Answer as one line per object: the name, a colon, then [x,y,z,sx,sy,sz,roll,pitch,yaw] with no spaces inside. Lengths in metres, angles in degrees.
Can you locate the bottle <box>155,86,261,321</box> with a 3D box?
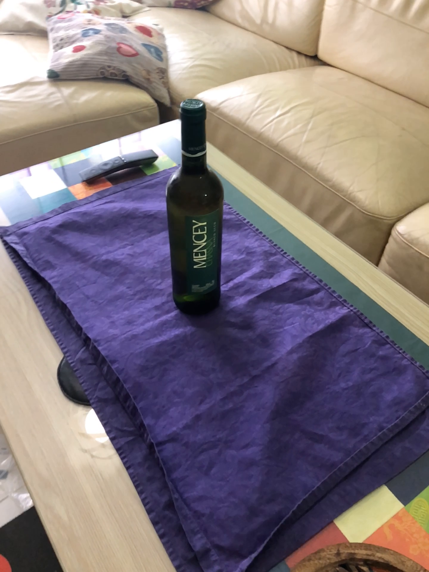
bottle: [-0.011,-0.085,0.574,0.090,0.269,0.090,1,46,-1]
